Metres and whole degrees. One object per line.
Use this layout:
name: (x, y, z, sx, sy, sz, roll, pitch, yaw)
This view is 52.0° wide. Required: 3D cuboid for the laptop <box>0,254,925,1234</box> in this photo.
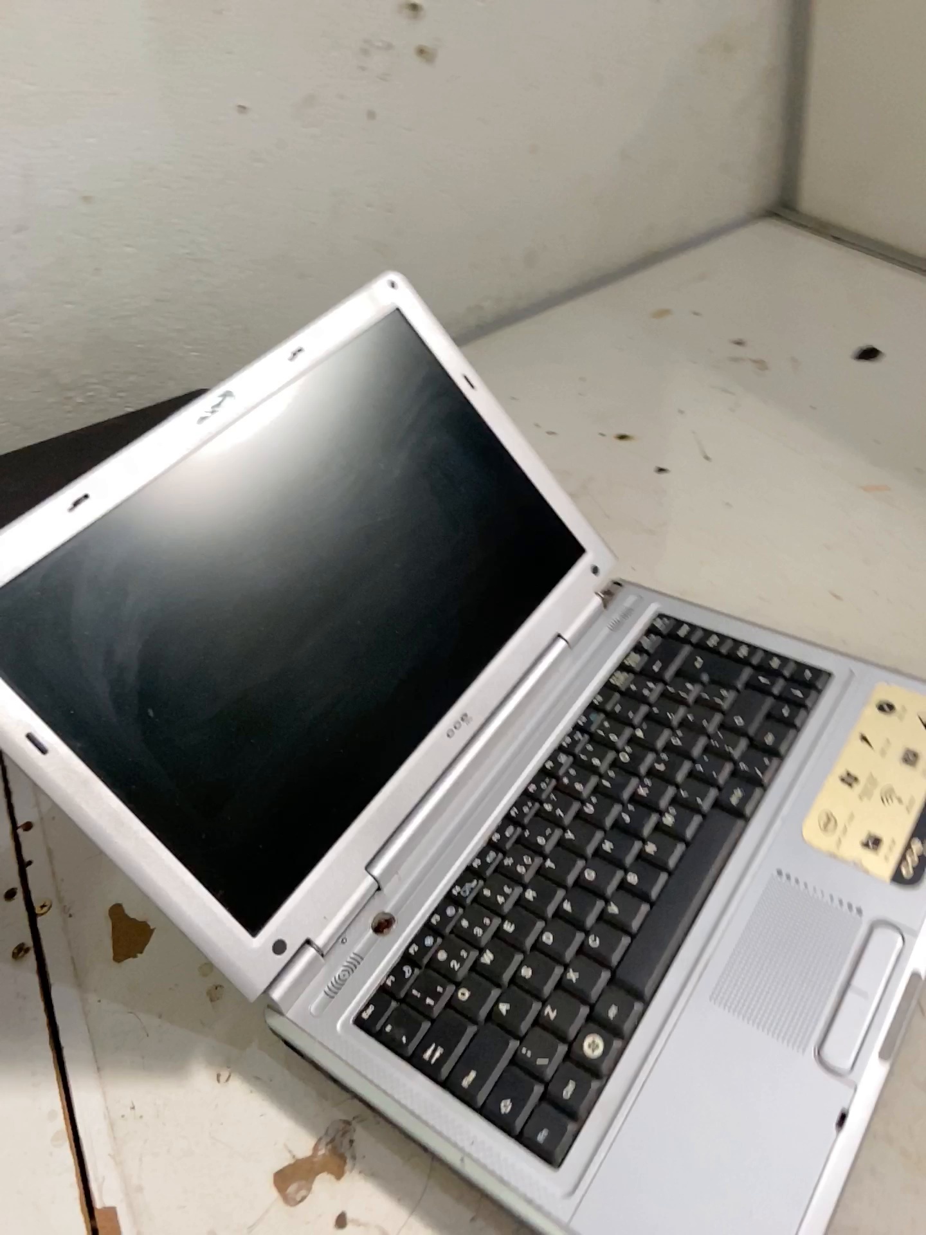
laptop: (0.022, 0.023, 0.437, 0.387, 0.190, 0.339, 22, 52, 30)
